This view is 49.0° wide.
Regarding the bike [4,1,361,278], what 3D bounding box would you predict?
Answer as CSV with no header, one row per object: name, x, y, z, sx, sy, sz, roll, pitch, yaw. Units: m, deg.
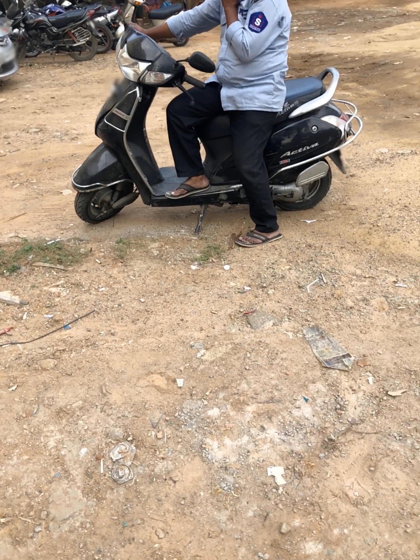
bike,-0.072,-0.729,2.480,1.523,1.102,0.578,-7,33,2
